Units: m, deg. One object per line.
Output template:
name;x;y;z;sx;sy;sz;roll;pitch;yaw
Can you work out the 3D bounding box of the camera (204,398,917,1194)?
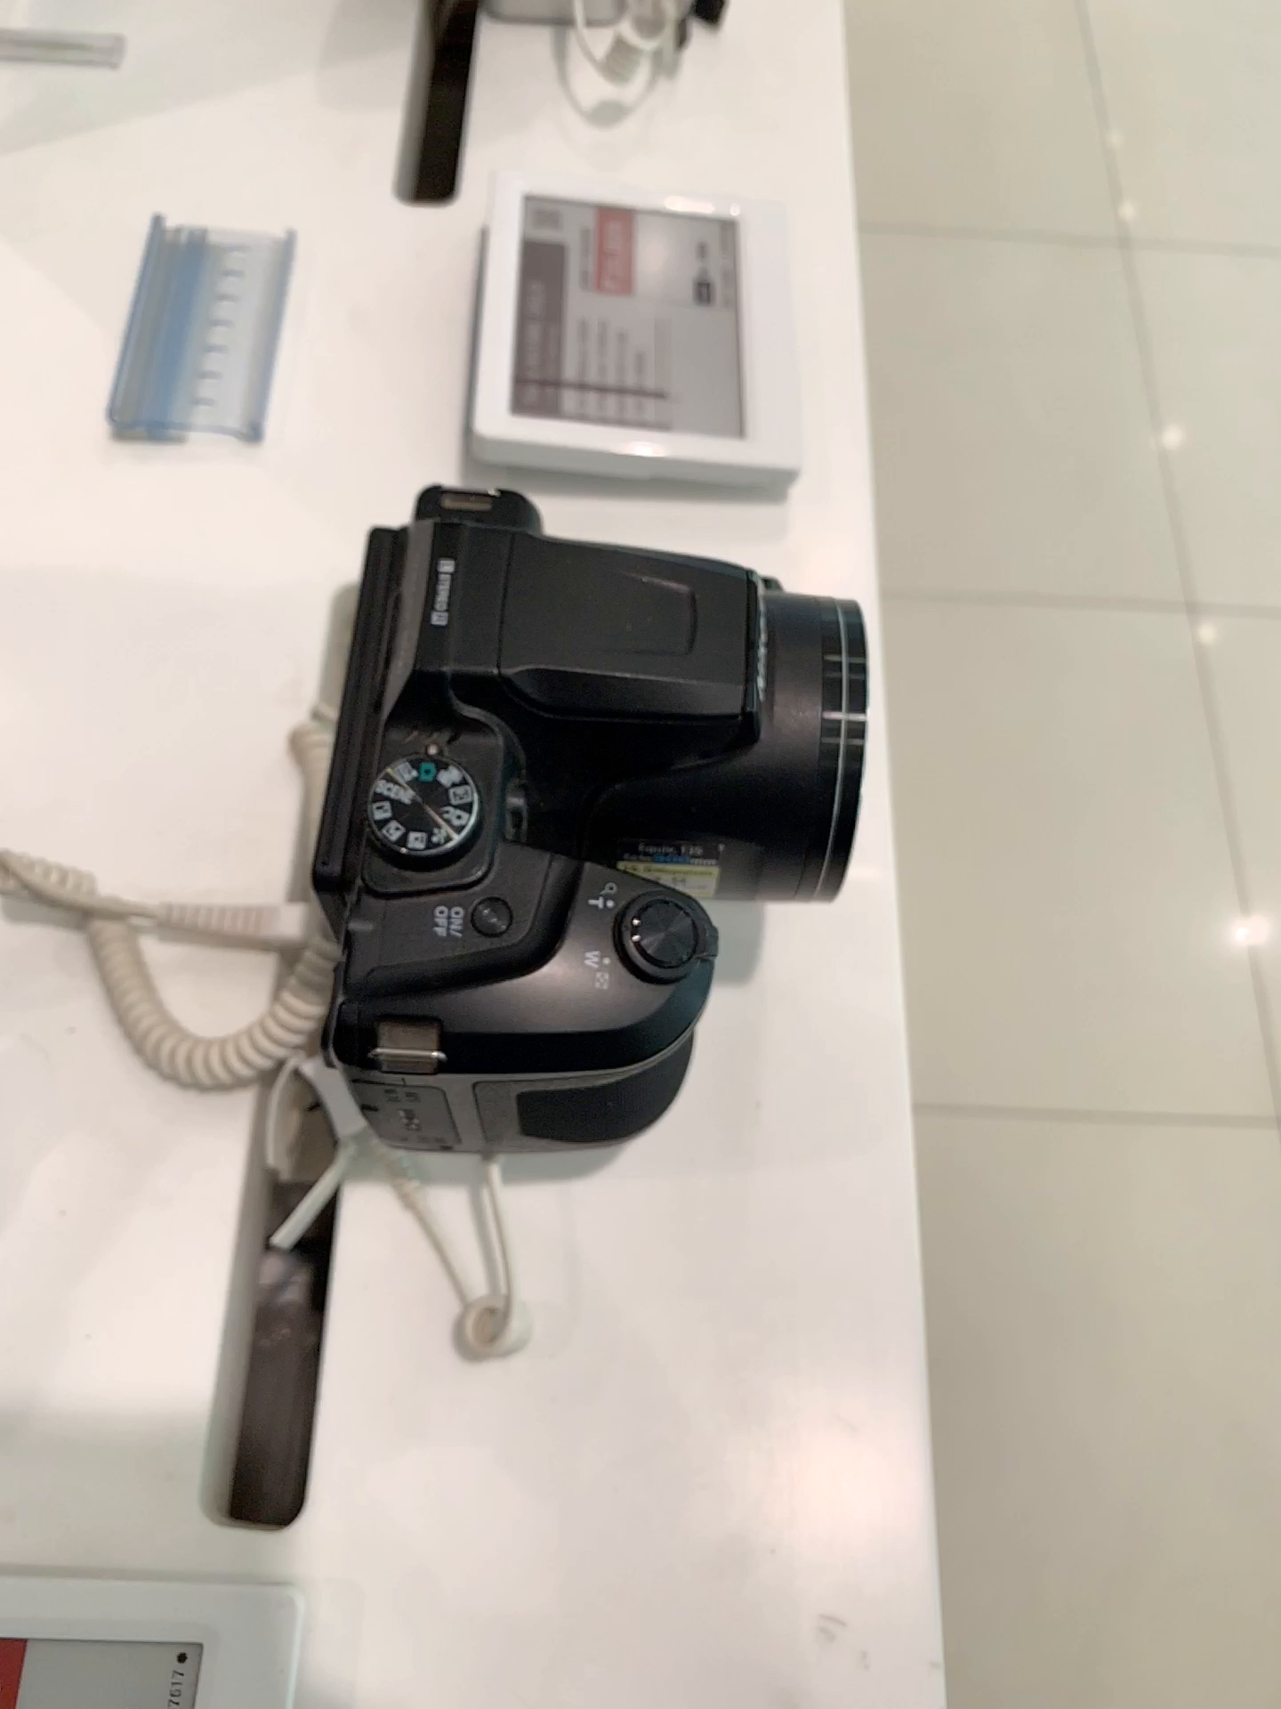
camera;-0.011;-0.008;0.251;0.100;0.080;0.120;3;64;-1
